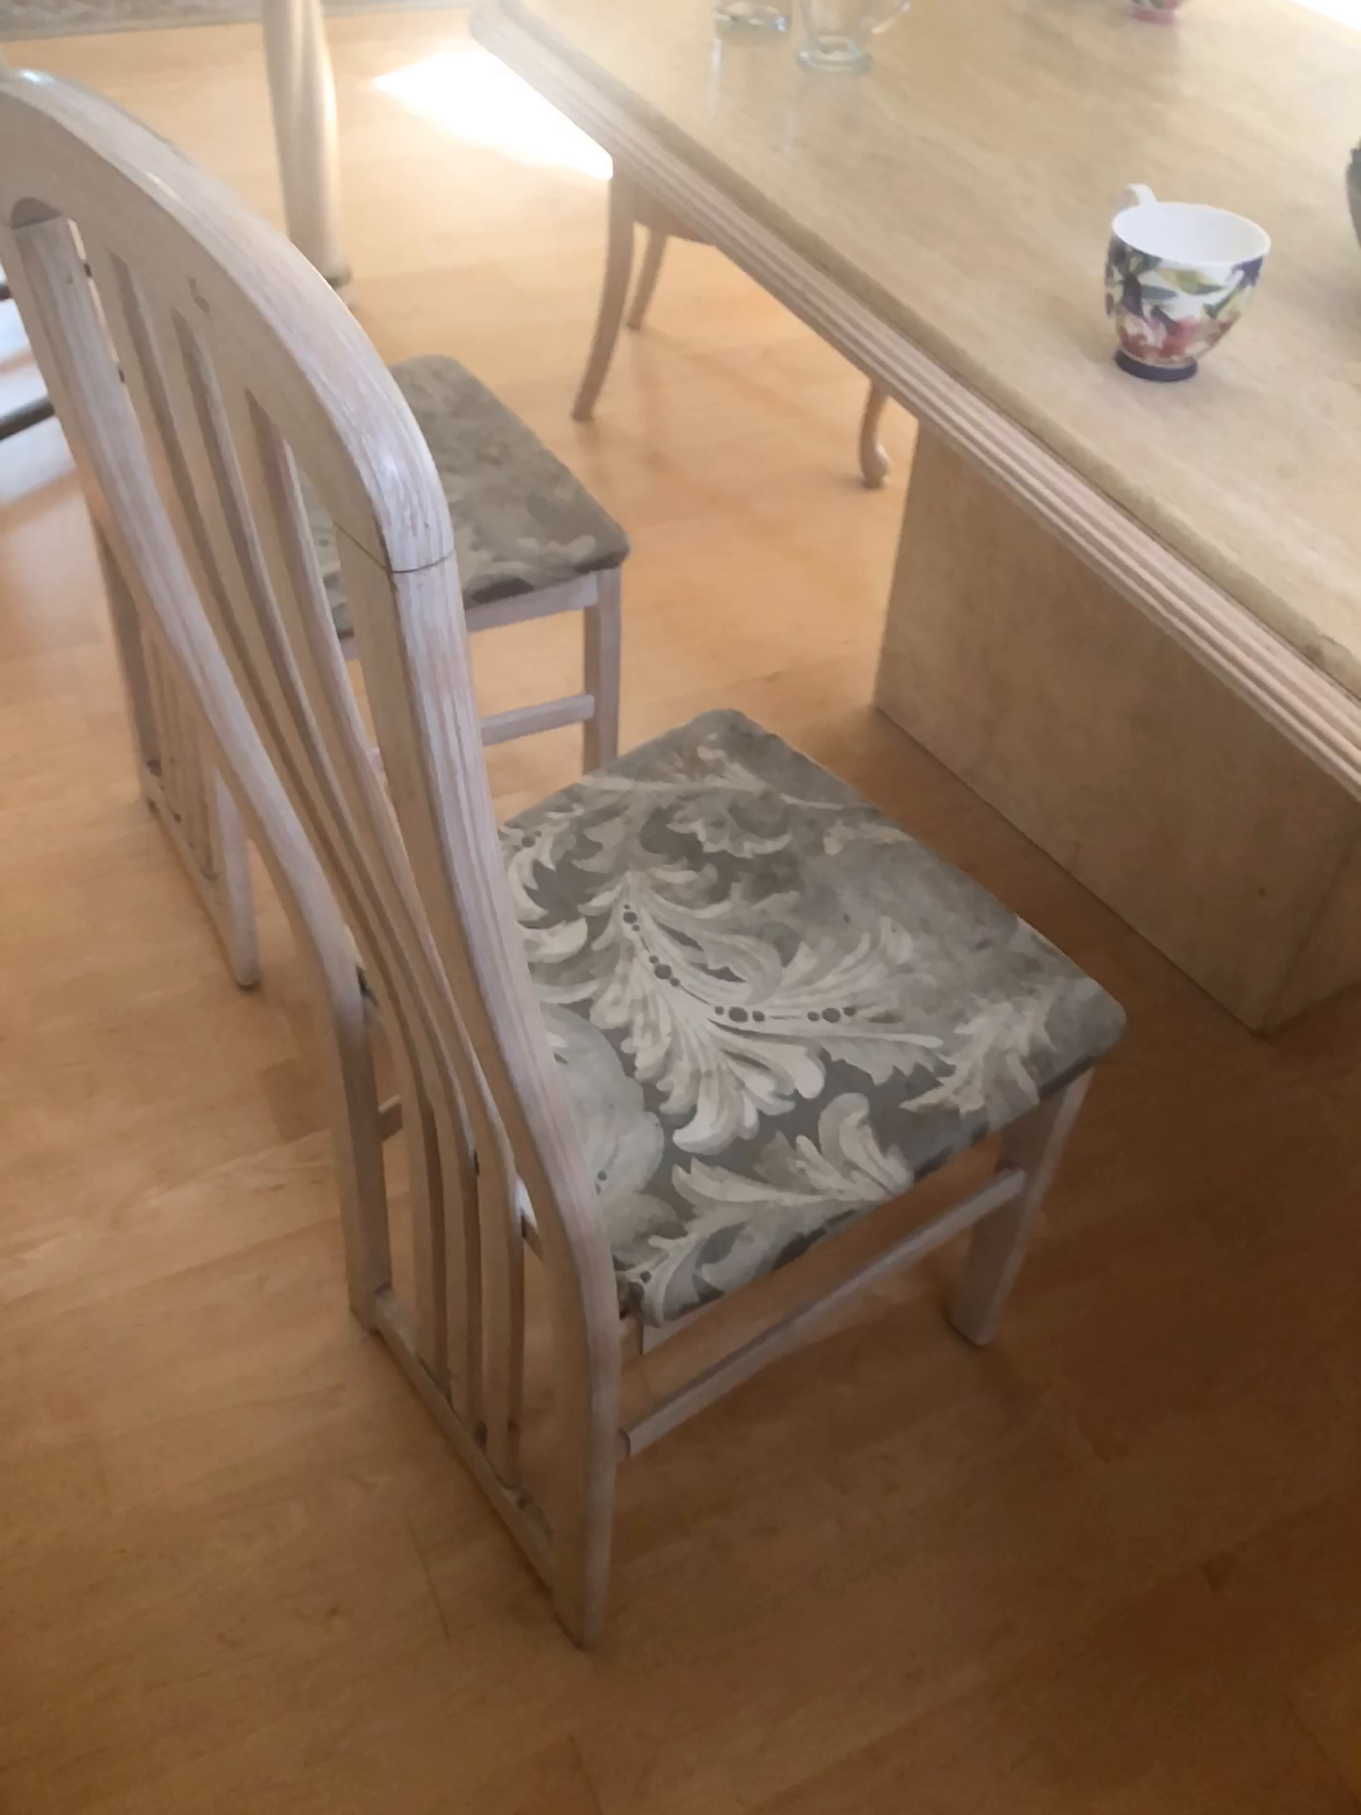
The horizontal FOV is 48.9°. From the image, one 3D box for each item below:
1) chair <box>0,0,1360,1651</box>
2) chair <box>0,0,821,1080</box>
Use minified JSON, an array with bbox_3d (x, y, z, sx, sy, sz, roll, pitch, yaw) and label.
[{"bbox_3d":[-0.041,-0.042,1.104,0.563,1.140,0.482,-23,50,-26],"label":"chair"},{"bbox_3d":[-0.288,-0.469,1.390,0.562,1.140,0.482,-20,49,-21],"label":"chair"}]
